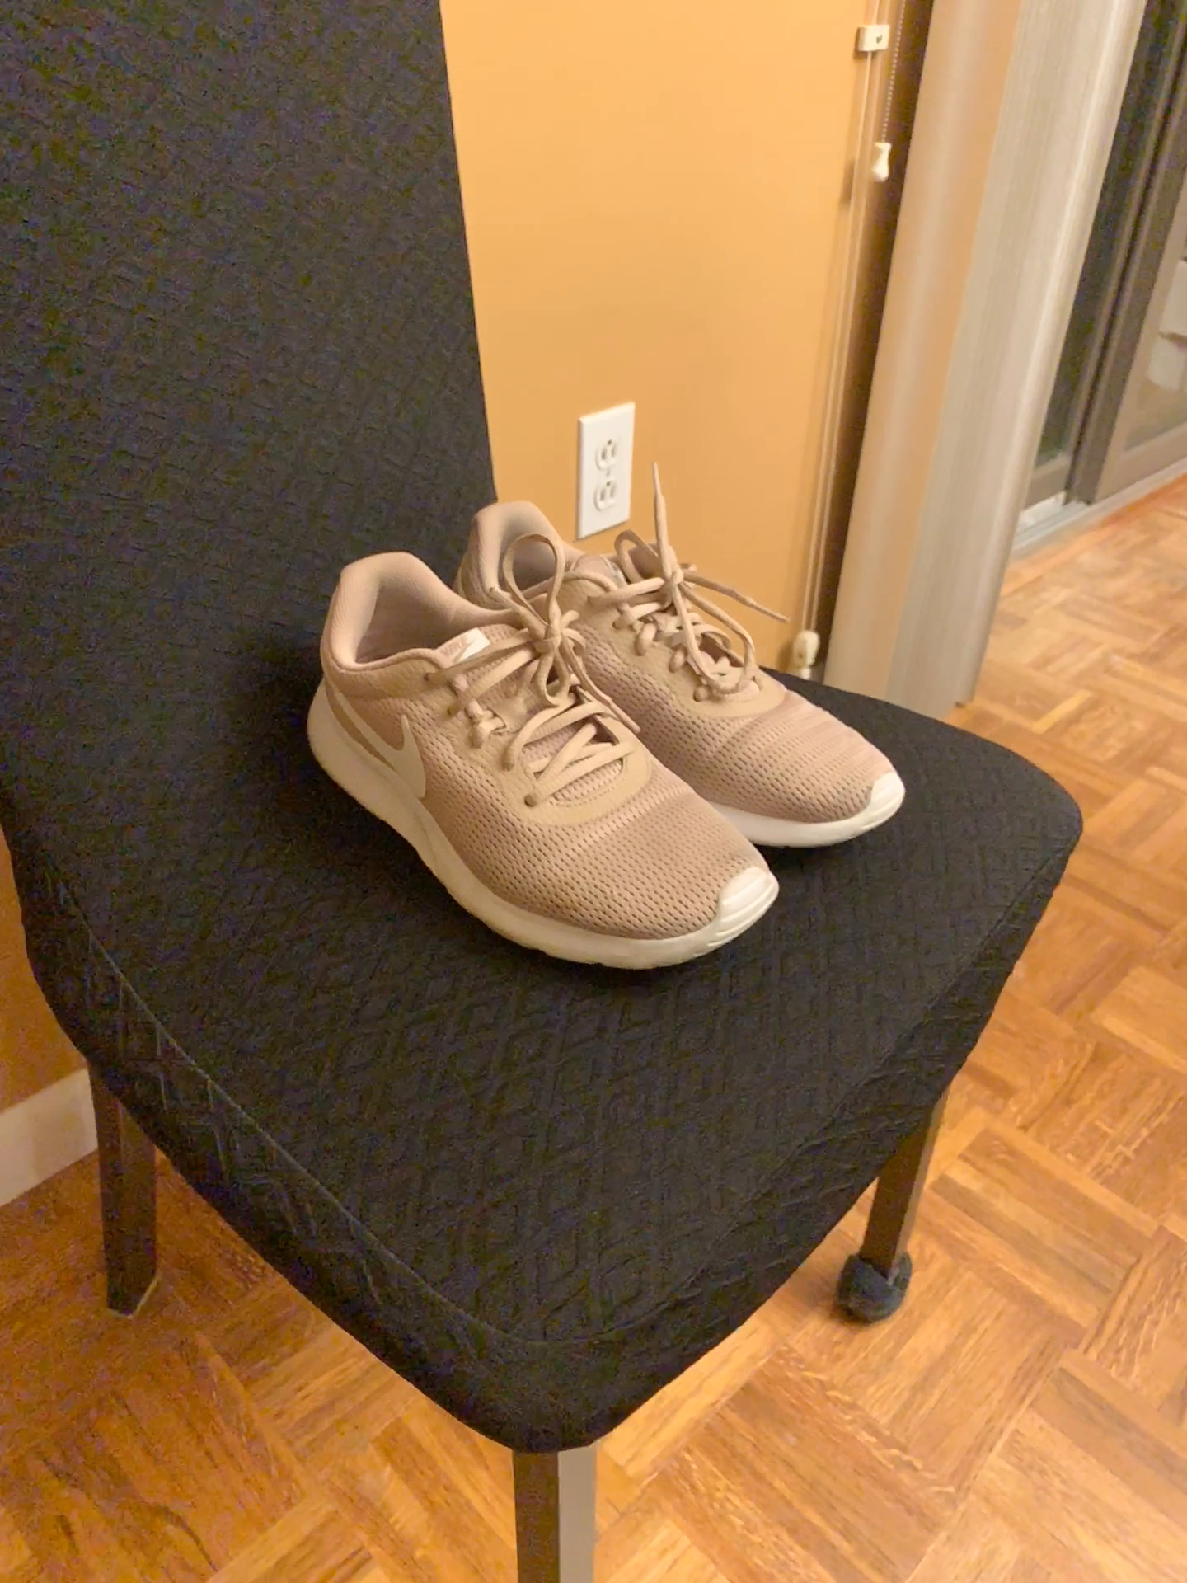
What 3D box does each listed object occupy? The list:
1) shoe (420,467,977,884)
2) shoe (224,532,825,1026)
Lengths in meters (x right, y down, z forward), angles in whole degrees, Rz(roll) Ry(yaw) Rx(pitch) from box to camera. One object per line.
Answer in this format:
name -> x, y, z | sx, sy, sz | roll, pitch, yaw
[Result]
shoe -> 0.041, -0.073, 0.618 | 0.261, 0.089, 0.110 | 30, 44, 34
shoe -> -0.042, -0.023, 0.566 | 0.271, 0.089, 0.110 | 30, 44, 34
